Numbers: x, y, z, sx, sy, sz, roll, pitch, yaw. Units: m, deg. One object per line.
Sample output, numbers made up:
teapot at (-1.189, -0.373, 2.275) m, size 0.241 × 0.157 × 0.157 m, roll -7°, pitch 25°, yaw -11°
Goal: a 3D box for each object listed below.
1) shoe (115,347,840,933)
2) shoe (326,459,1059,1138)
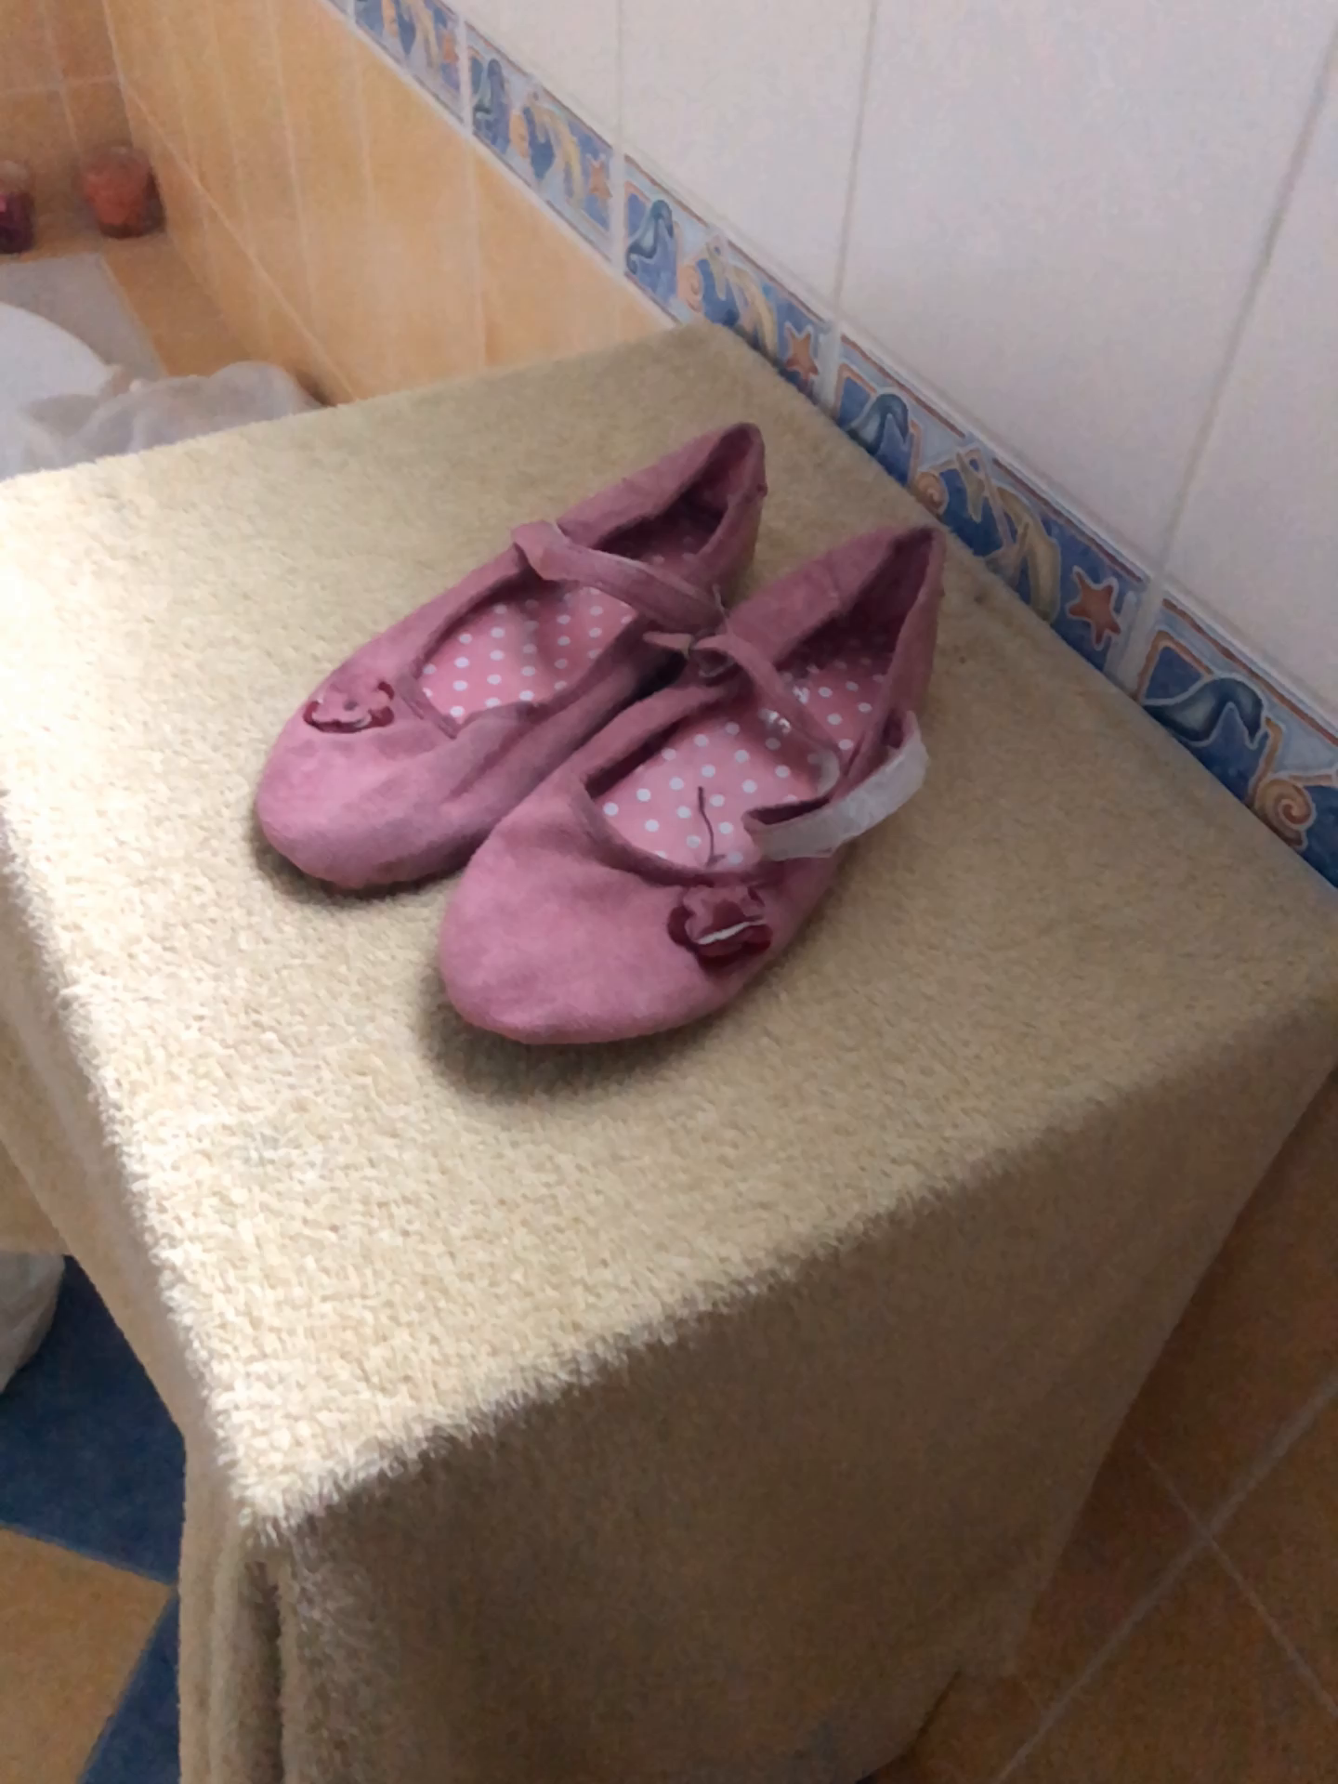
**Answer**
shoe at (-0.050, -0.098, 0.491) m, size 0.100 × 0.050 × 0.241 m, roll 29°, pitch 52°, yaw 21°
shoe at (0.019, -0.045, 0.457) m, size 0.100 × 0.050 × 0.241 m, roll 29°, pitch 52°, yaw 21°
